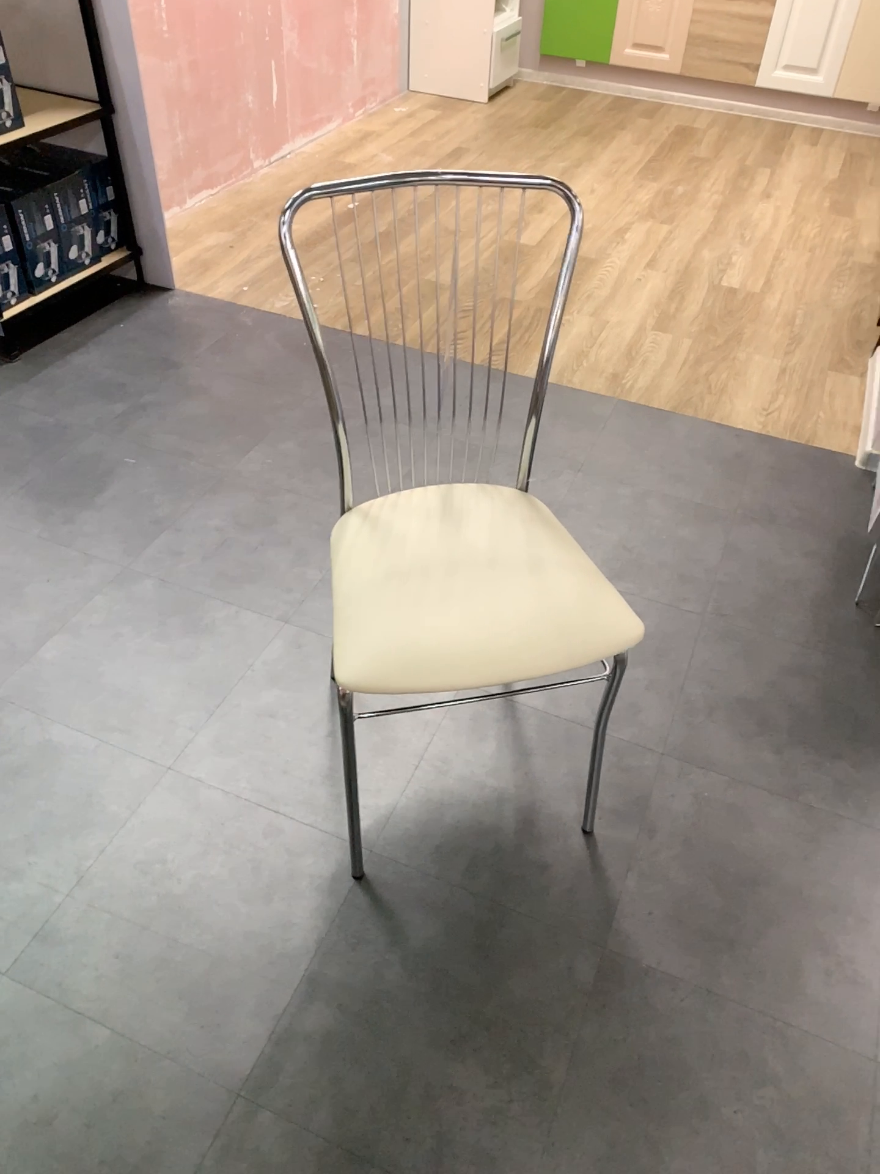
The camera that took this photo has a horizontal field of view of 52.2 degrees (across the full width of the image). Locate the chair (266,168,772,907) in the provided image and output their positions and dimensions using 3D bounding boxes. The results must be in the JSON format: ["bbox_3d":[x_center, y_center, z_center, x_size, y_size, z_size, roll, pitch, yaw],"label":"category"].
[{"bbox_3d":[0.025,-0.043,1.386,0.472,0.964,0.555,-6,43,-10],"label":"chair"}]
